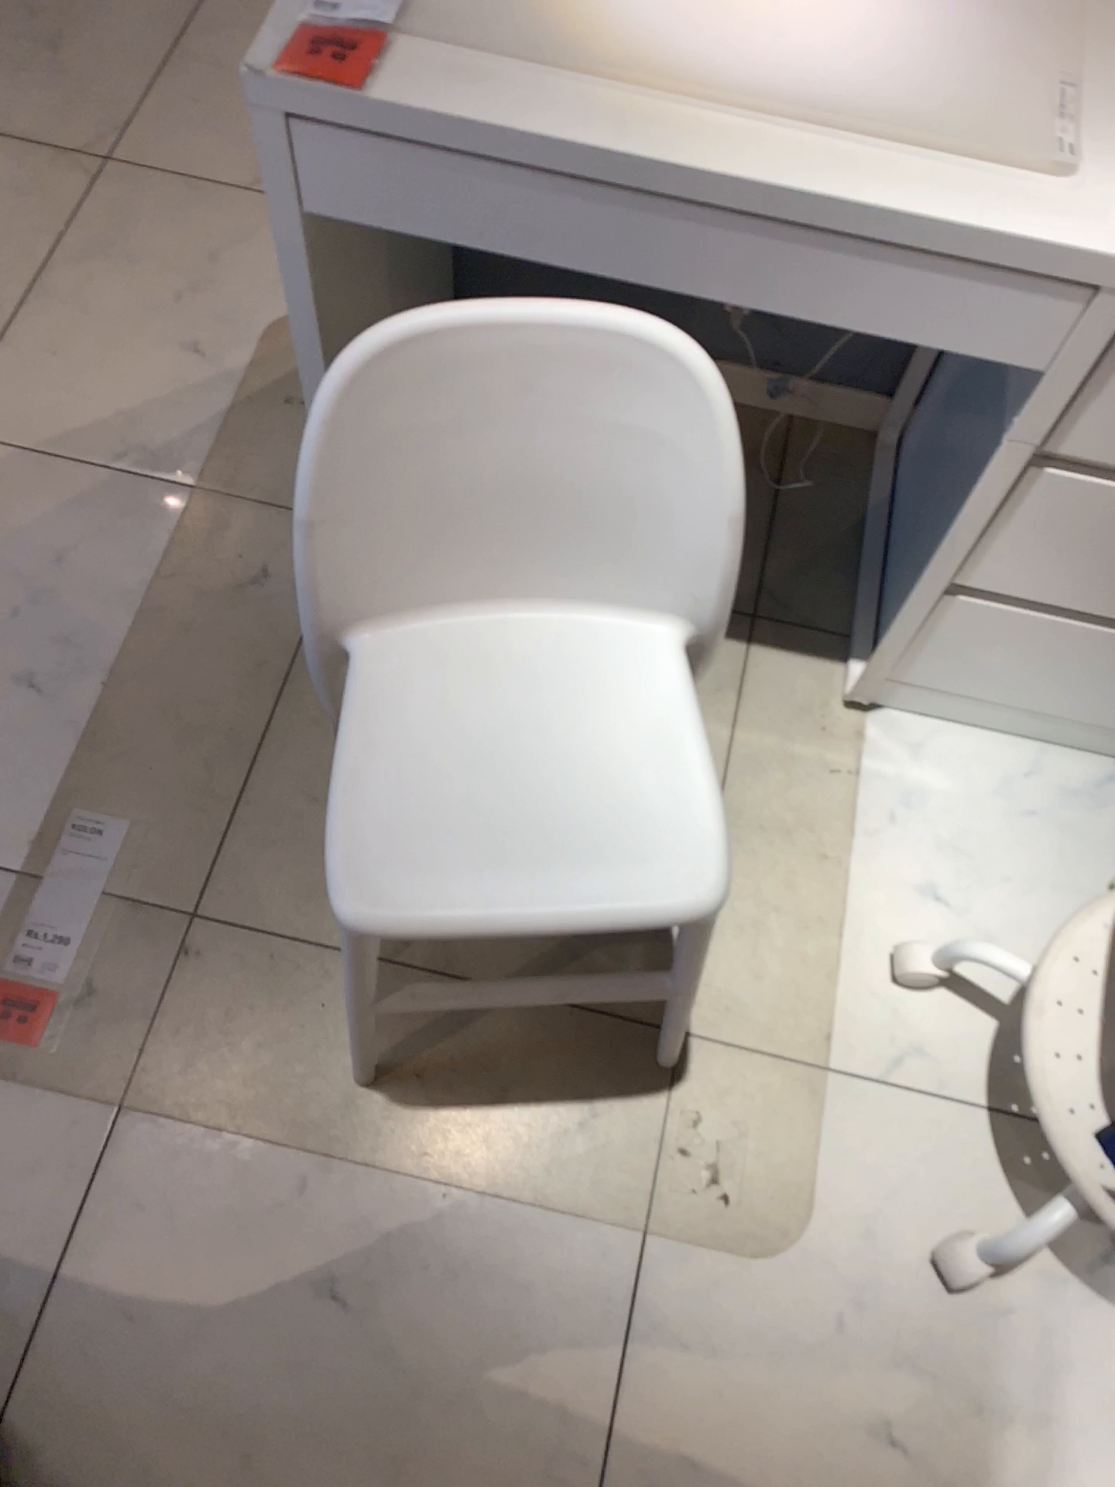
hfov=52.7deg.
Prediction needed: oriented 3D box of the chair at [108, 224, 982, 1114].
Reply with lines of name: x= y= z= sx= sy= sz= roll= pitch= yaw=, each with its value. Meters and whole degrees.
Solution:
chair: x=-0.036 y=0.019 z=1.011 sx=0.450 sy=0.729 sz=0.491 roll=-1 pitch=65 yaw=-5
